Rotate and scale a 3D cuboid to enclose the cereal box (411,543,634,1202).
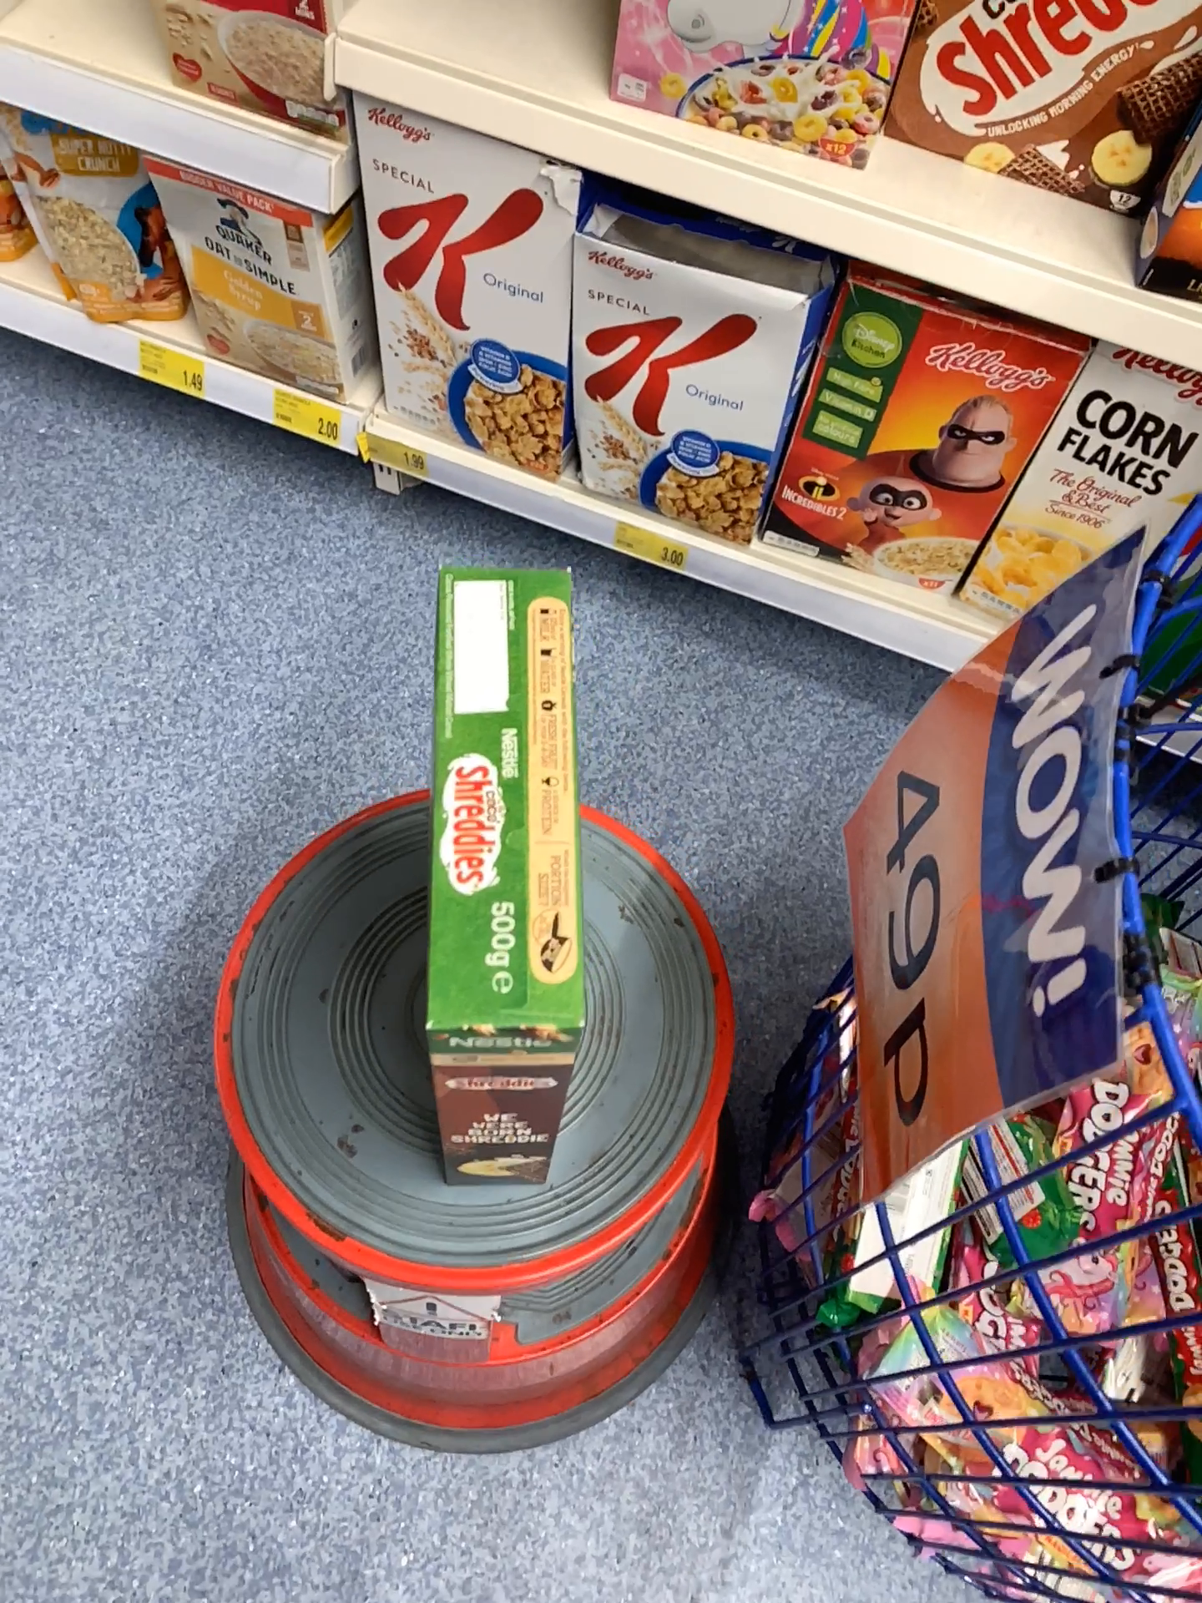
[{"bbox_3d":[-0.039,0.053,0.554,0.070,0.278,0.201,0,62,-5],"label":"cereal box"}]
